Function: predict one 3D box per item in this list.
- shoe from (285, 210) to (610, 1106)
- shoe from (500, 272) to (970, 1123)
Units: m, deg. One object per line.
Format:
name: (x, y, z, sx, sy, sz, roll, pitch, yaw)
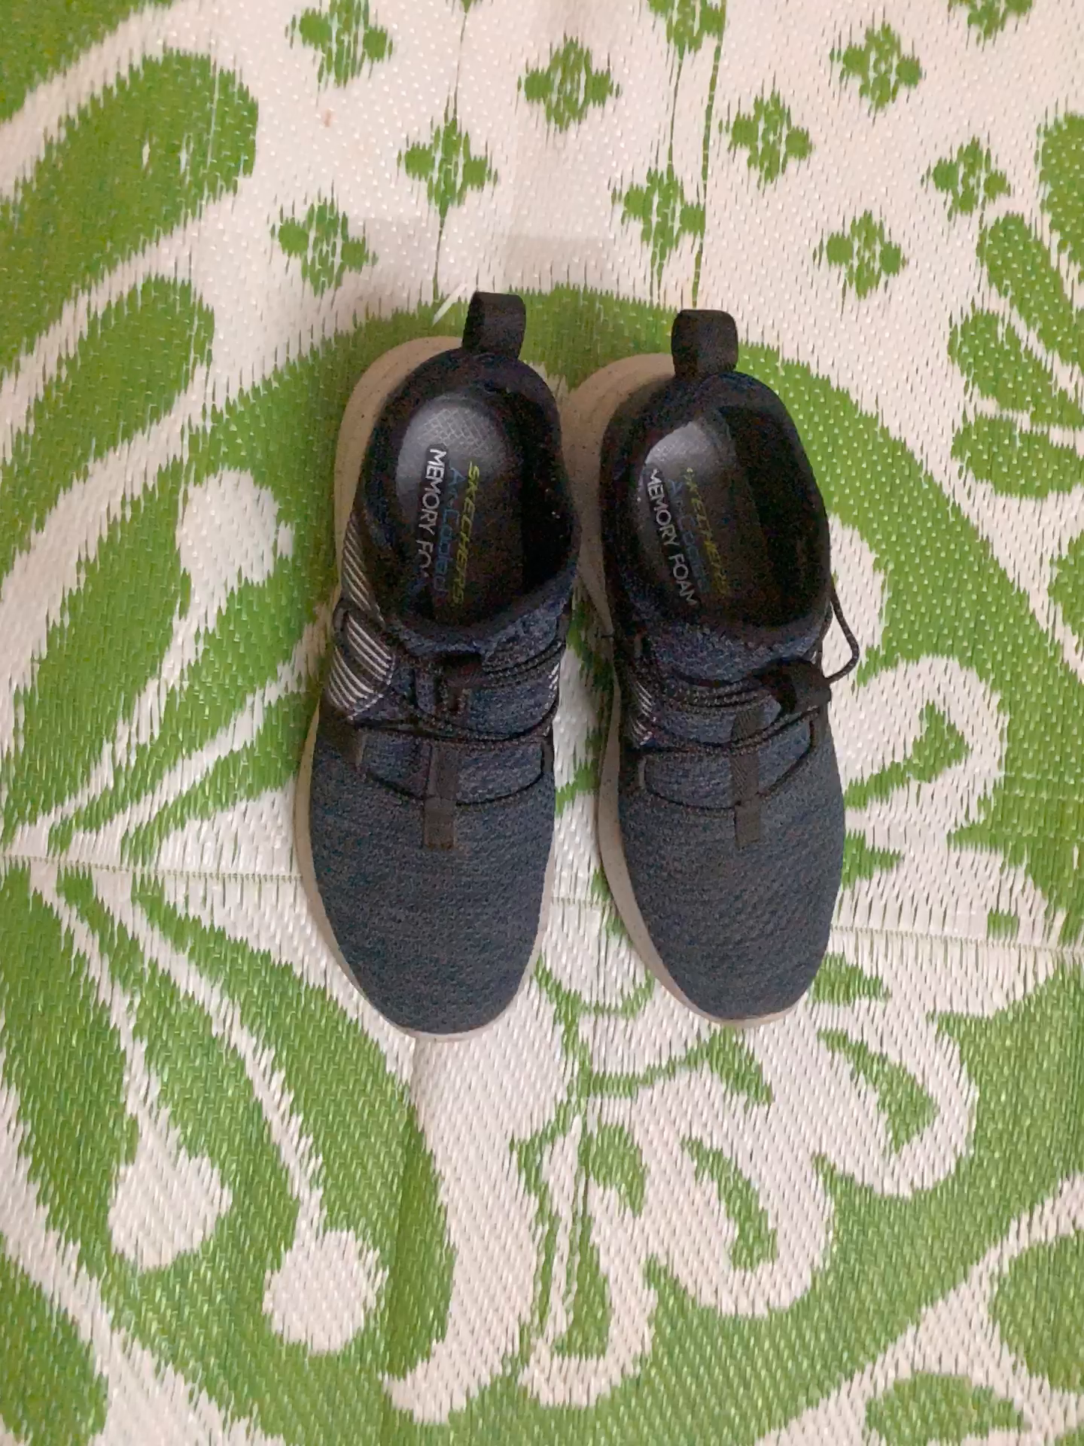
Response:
shoe: (-0.039, -0.022, 0.430, 0.110, 0.100, 0.300, 0, 90, -9)
shoe: (0.070, -0.011, 0.448, 0.110, 0.100, 0.290, -11, 92, -9)
